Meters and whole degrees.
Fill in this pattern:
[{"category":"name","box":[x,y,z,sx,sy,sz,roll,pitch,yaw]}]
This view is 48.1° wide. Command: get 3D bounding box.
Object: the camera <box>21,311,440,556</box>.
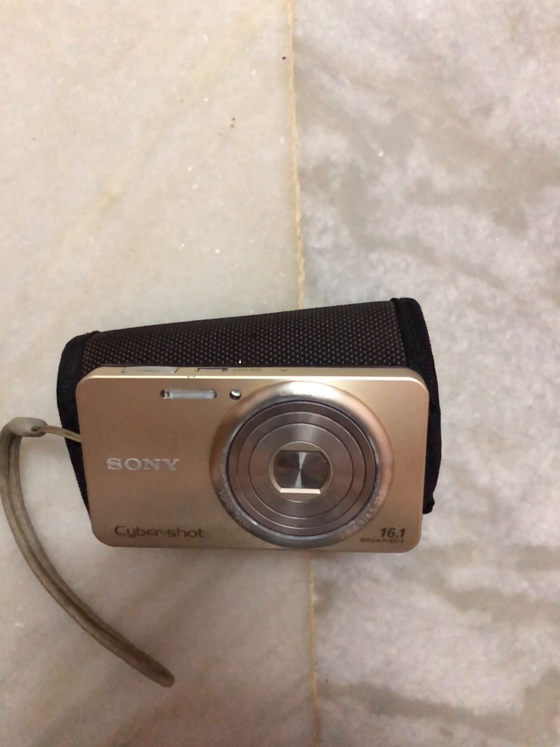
[{"category":"camera","box":[-0.011,0.016,0.167,0.100,0.020,0.060,-1,106,2]}]
